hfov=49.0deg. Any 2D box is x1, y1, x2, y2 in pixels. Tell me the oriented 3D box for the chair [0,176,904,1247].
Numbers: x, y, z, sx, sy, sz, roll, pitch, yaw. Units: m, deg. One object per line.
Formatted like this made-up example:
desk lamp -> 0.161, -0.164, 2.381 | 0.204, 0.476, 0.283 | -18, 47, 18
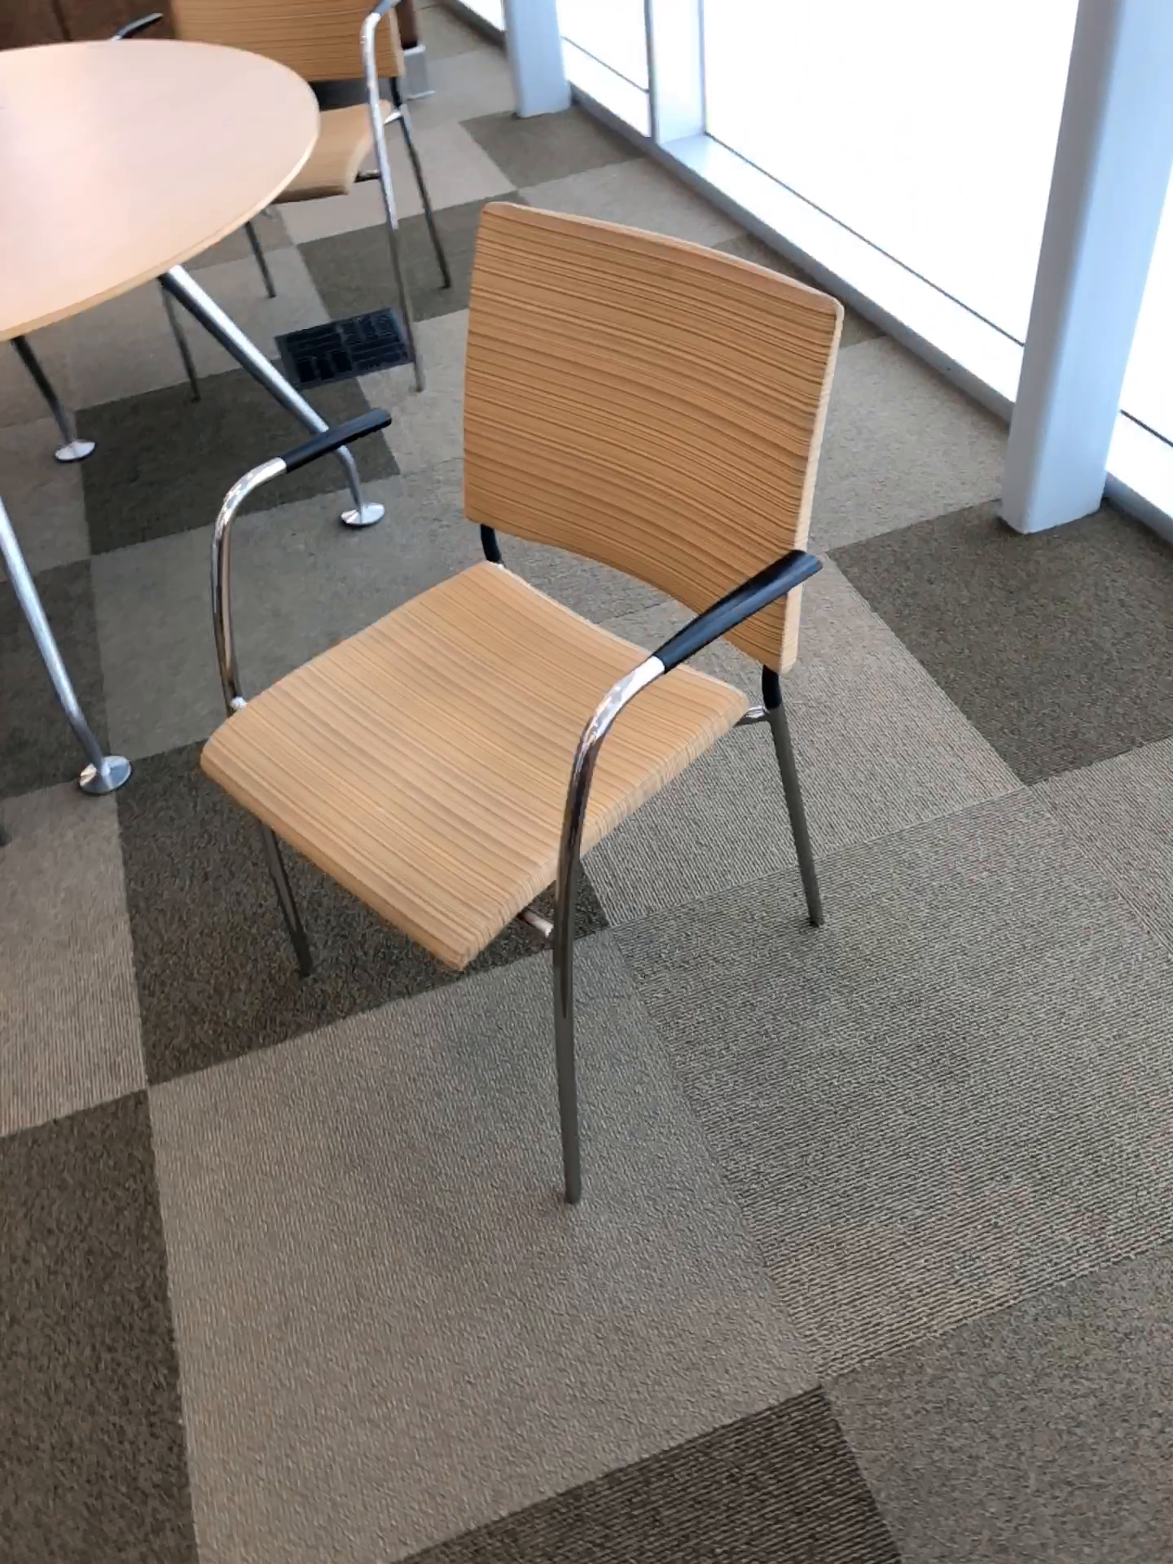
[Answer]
chair -> -0.080, -0.067, 1.316 | 0.516, 0.796, 0.547 | 31, 56, 33
